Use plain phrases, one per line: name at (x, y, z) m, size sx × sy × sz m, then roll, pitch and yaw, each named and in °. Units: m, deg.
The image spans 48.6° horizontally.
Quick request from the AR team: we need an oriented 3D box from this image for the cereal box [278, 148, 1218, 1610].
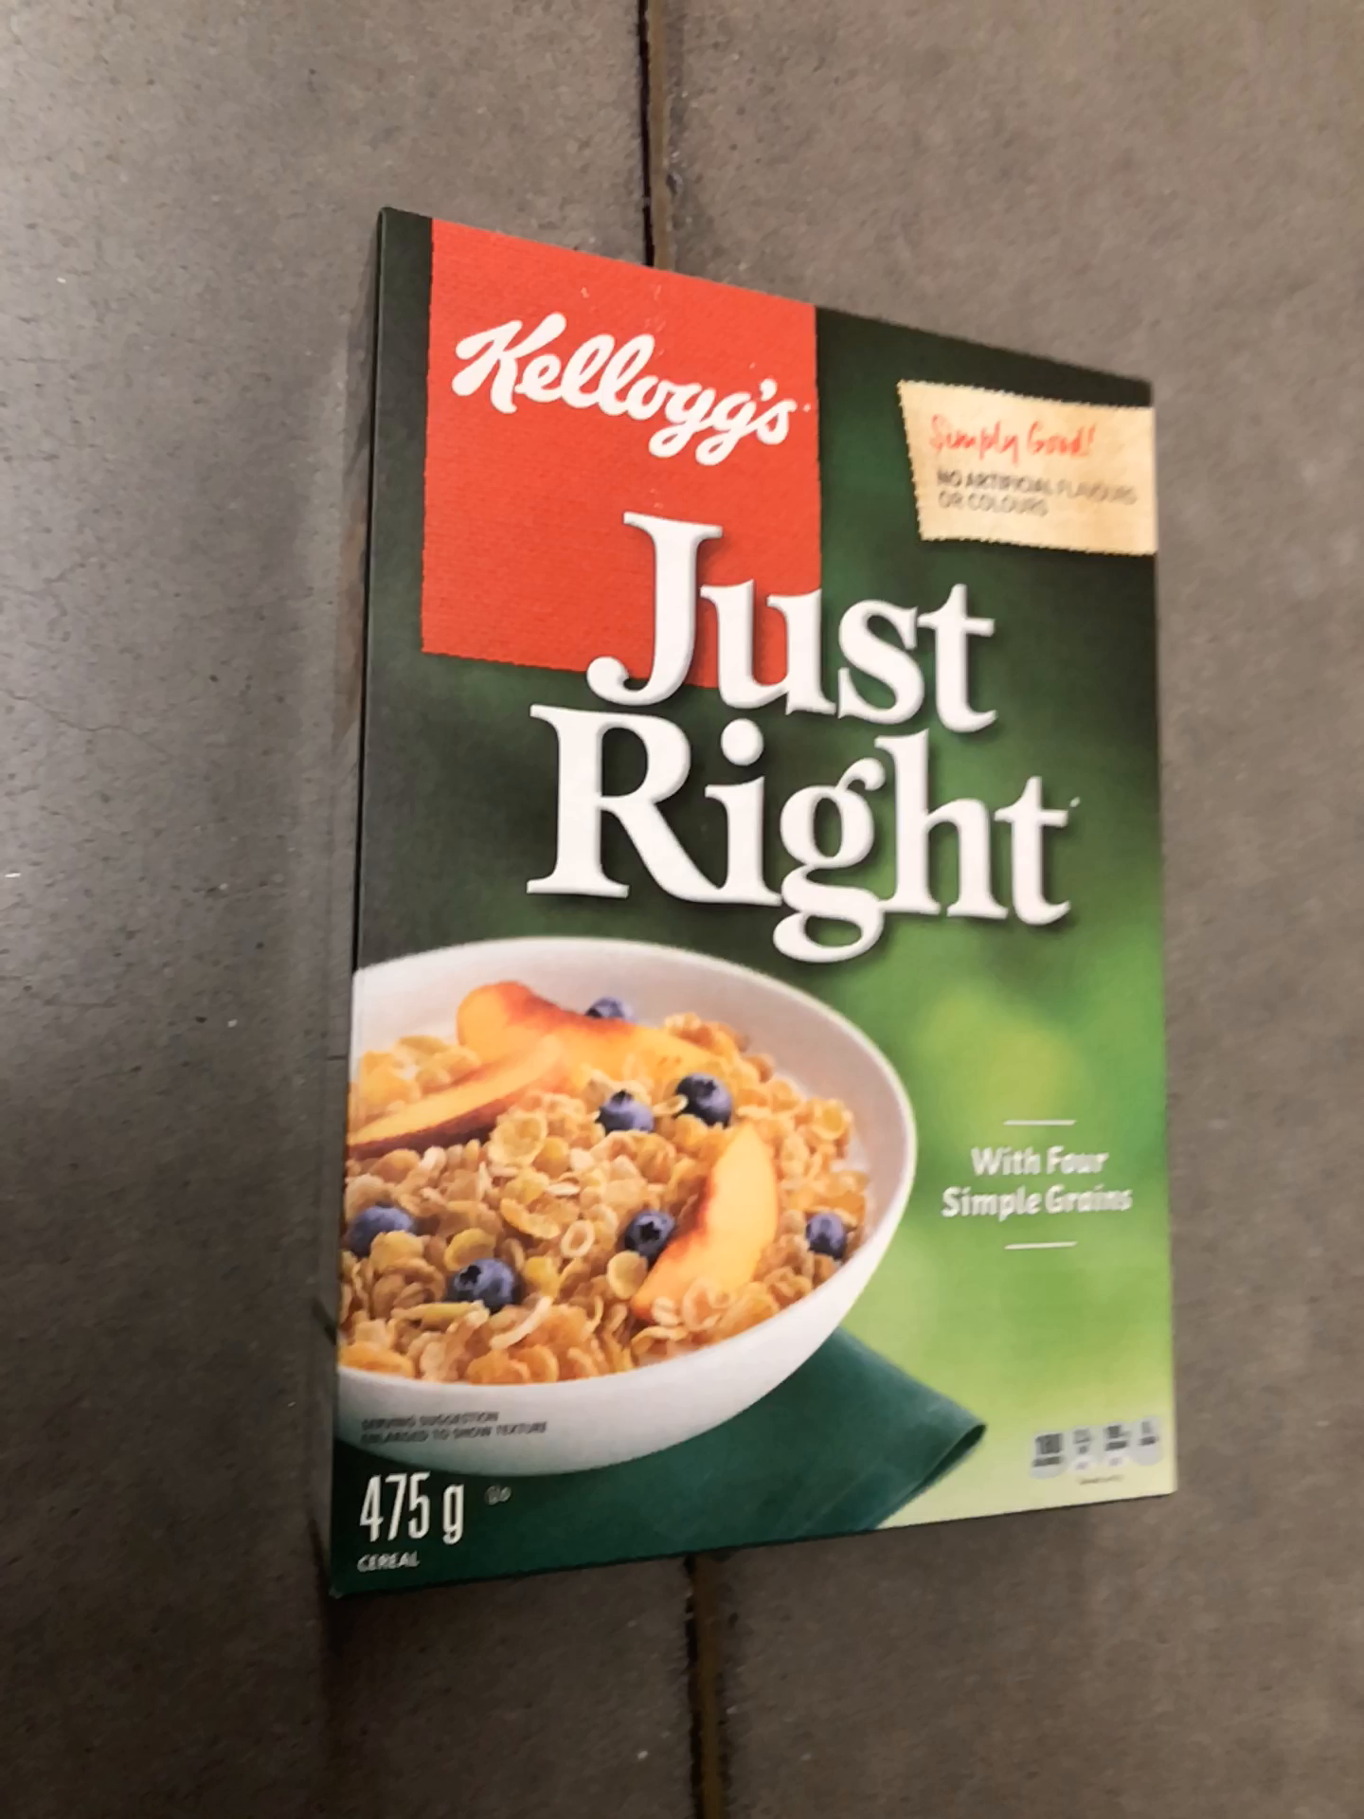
cereal box at (0.019, -0.006, 0.364) m, size 0.210 × 0.060 × 0.290 m, roll 3°, pitch 83°, yaw -22°
